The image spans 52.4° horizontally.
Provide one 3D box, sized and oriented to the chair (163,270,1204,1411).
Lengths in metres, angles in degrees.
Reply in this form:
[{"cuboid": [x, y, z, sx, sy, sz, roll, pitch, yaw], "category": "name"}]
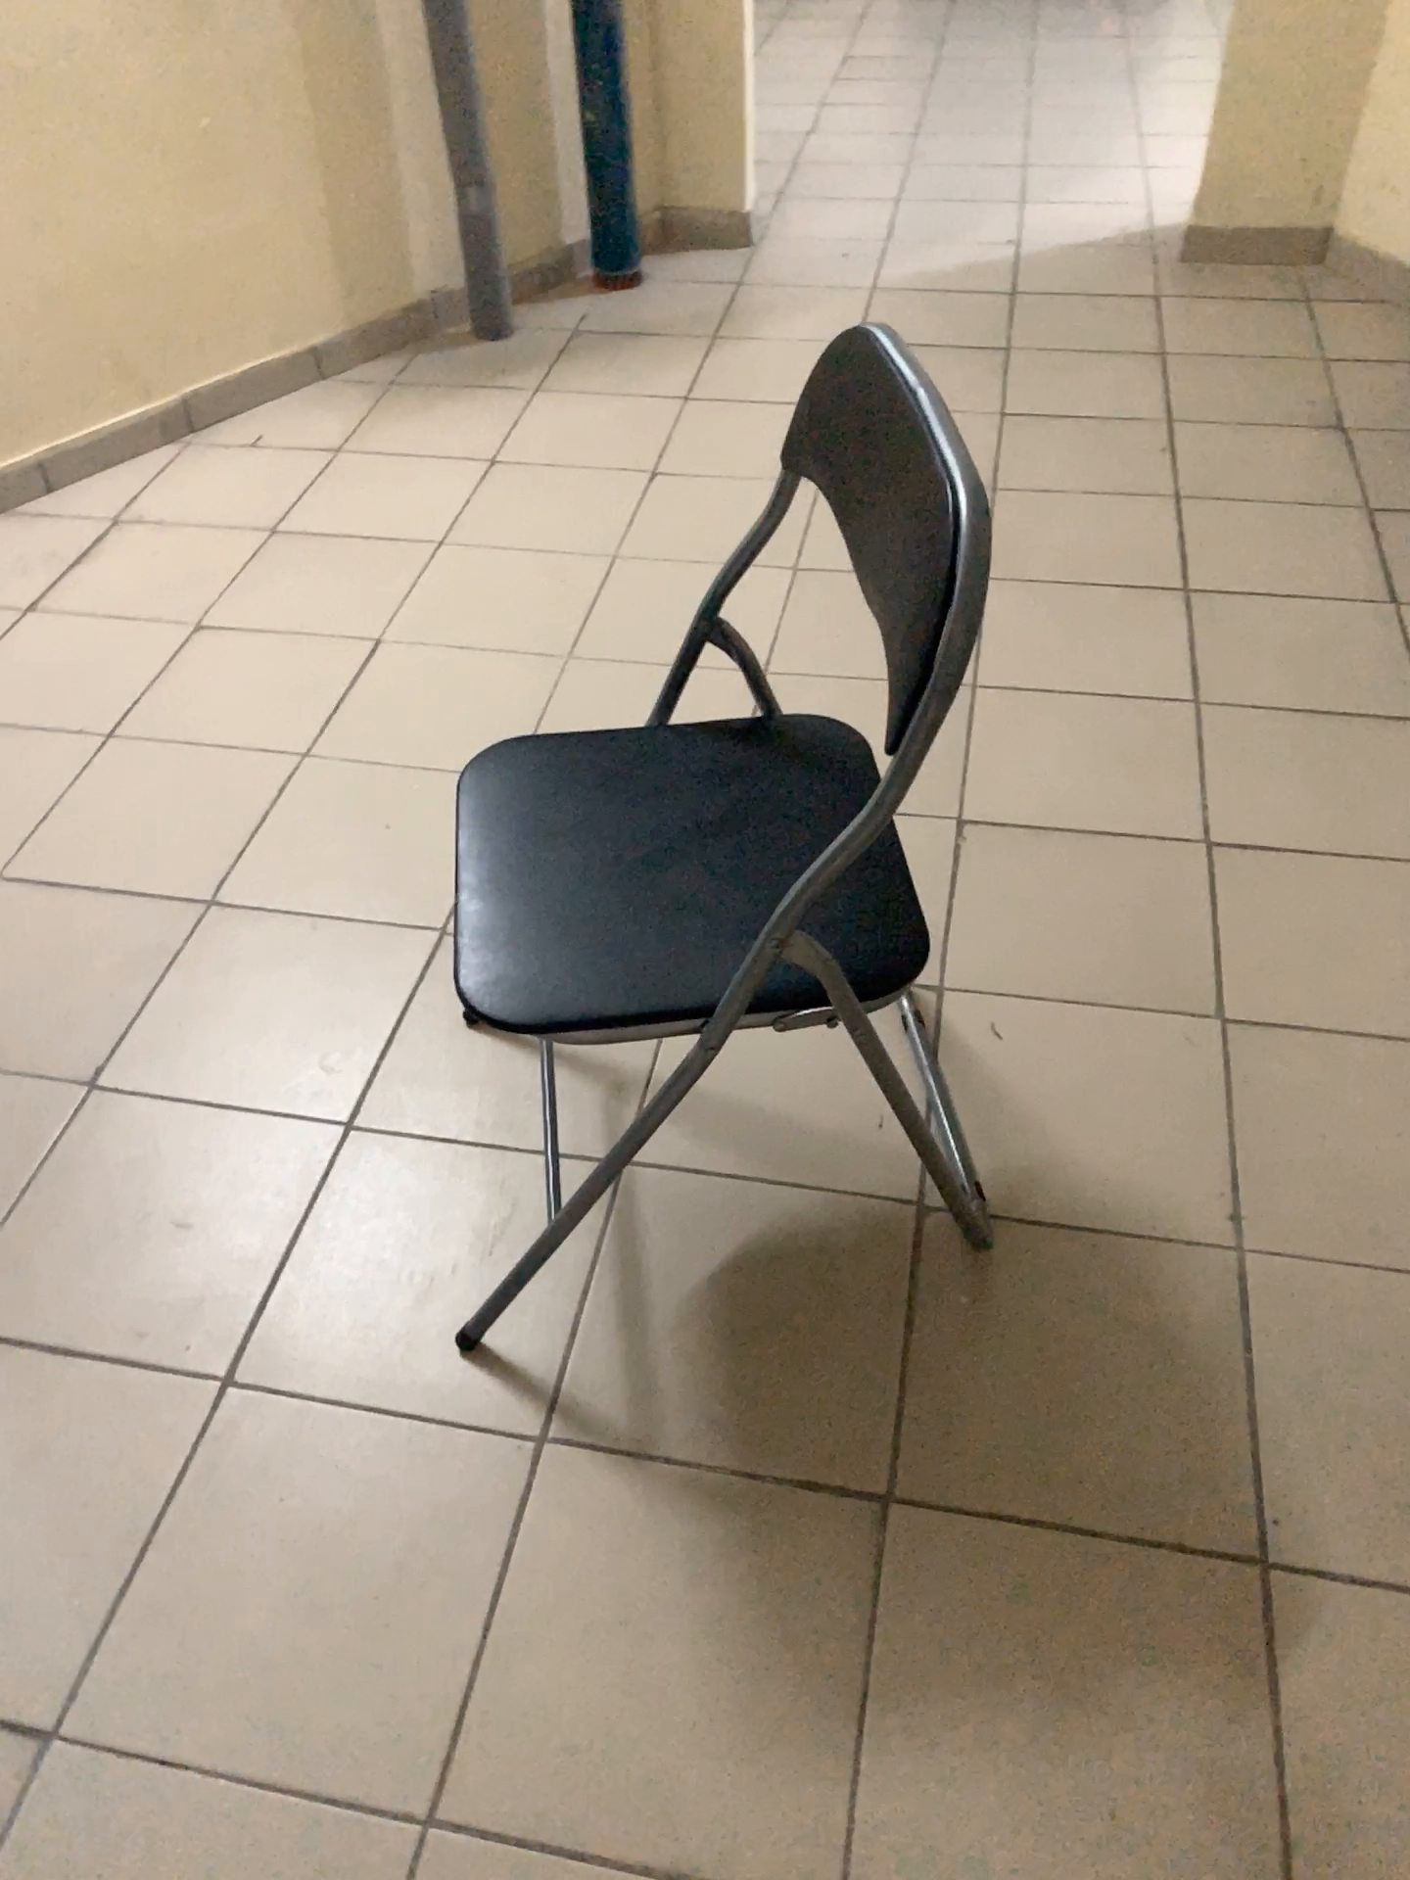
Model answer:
[{"cuboid": [-0.018, -0.073, 1.225, 0.560, 0.727, 0.573, -5, 43, -2], "category": "chair"}]
